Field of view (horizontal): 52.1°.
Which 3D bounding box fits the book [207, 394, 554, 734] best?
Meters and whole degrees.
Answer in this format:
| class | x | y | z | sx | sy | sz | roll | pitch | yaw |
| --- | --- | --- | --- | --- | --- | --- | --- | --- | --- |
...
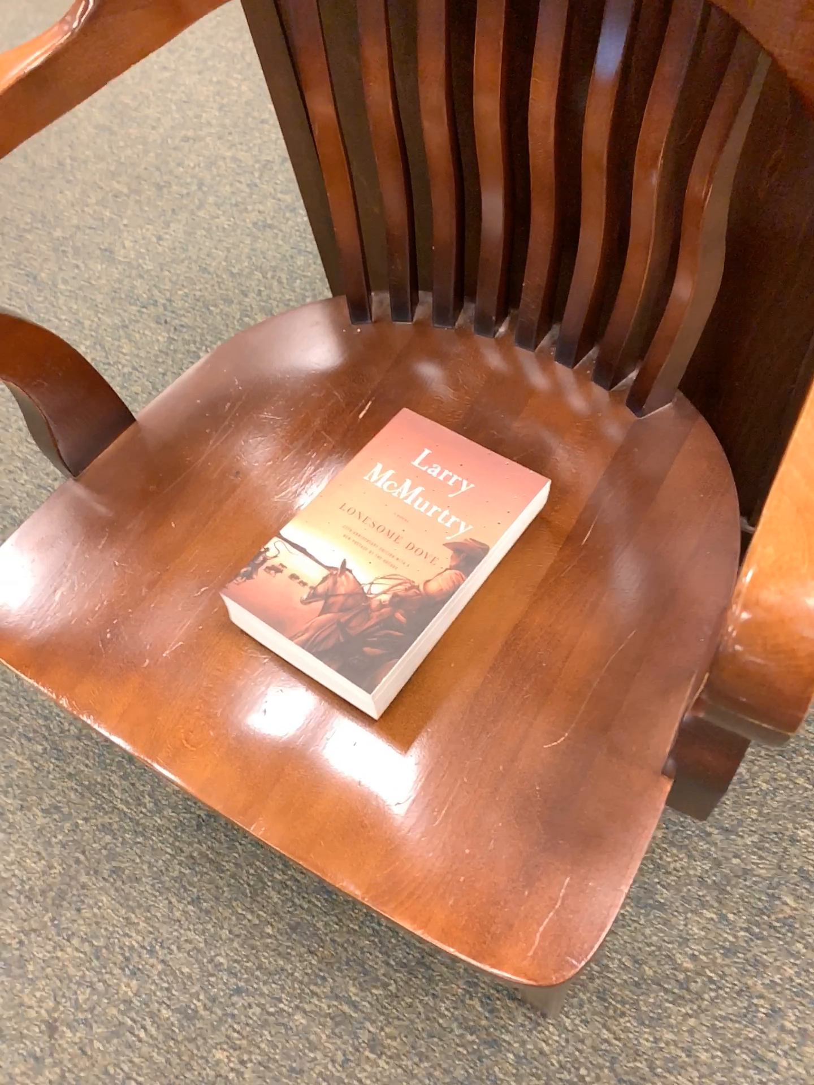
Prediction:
| class | x | y | z | sx | sy | sz | roll | pitch | yaw |
| --- | --- | --- | --- | --- | --- | --- | --- | --- | --- |
| book | -0.013 | 0.006 | 0.582 | 0.140 | 0.060 | 0.200 | 30 | 64 | 25 |
